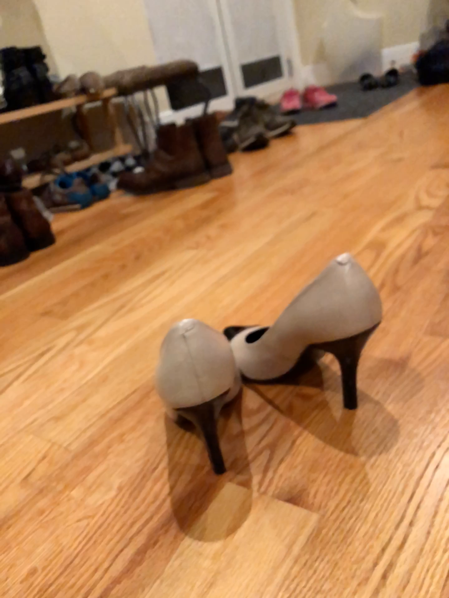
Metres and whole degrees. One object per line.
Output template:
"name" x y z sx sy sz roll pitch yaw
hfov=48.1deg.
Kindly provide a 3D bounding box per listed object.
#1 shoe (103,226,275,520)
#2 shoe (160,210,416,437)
"shoe" -0.034 0.041 0.444 0.085 0.138 0.236 -14 24 -2
"shoe" 0.050 0.004 0.481 0.085 0.138 0.236 -27 27 -28
